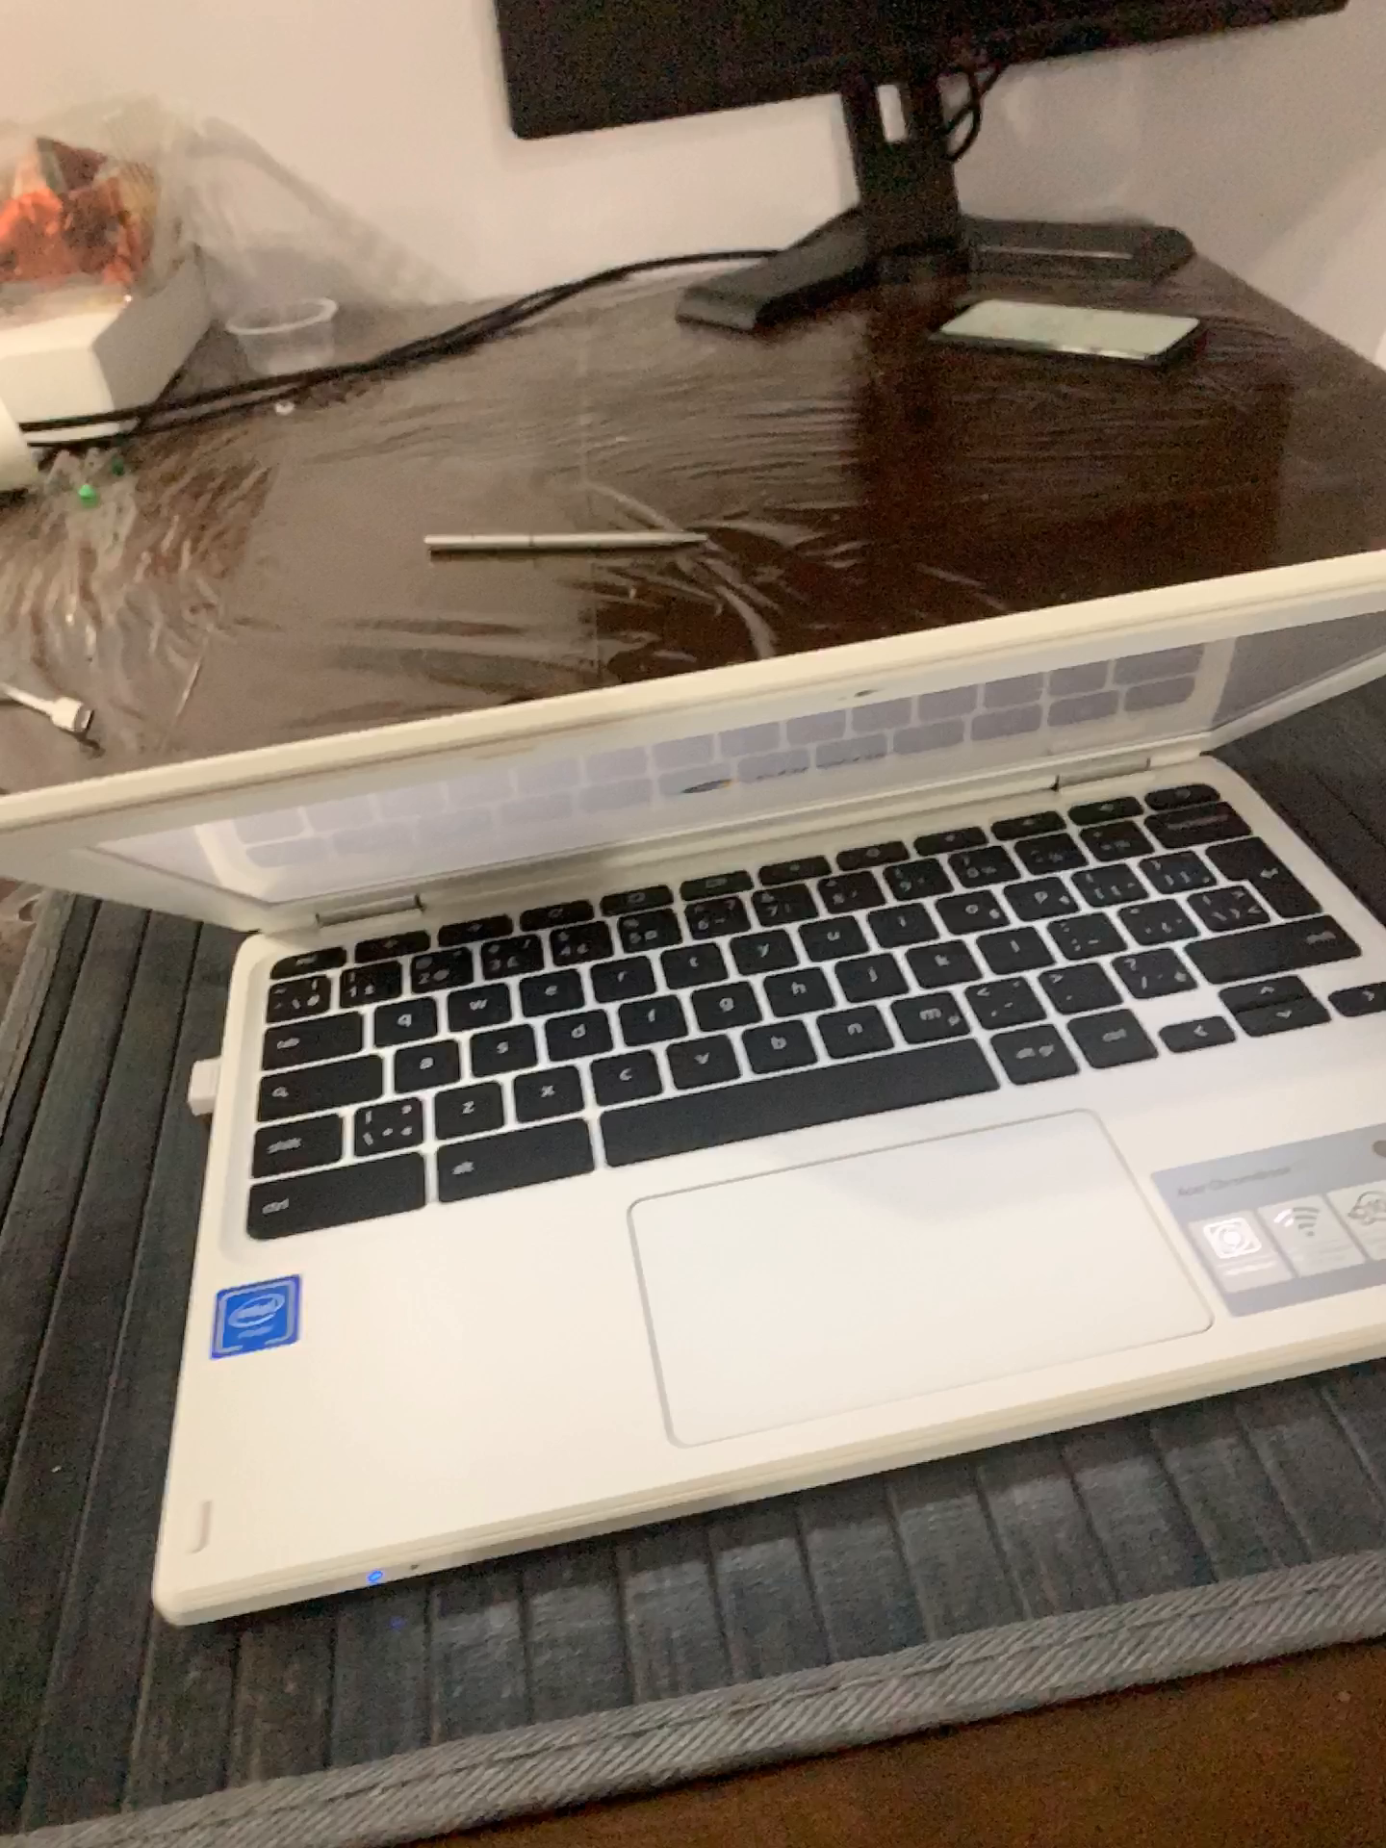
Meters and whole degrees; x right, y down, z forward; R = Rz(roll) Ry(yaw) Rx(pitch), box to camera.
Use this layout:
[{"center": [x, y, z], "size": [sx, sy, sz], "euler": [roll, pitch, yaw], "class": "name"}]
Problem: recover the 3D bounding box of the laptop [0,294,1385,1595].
[{"center": [0.027, -0.017, 0.283], "size": [0.280, 0.124, 0.182], "euler": [-10, 37, -4], "class": "laptop"}]
